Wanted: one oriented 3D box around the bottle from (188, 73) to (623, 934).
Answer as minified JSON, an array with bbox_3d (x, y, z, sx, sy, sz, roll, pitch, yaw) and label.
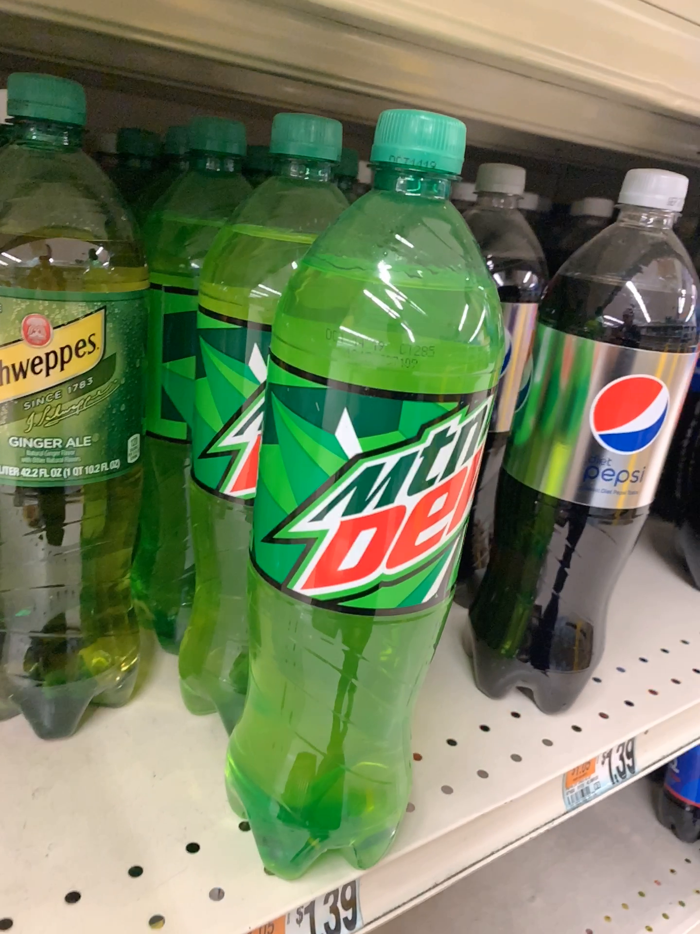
[{"bbox_3d":[0.004,0.023,0.292,0.100,0.302,0.090,-5,23,-31],"label":"bottle"}]
